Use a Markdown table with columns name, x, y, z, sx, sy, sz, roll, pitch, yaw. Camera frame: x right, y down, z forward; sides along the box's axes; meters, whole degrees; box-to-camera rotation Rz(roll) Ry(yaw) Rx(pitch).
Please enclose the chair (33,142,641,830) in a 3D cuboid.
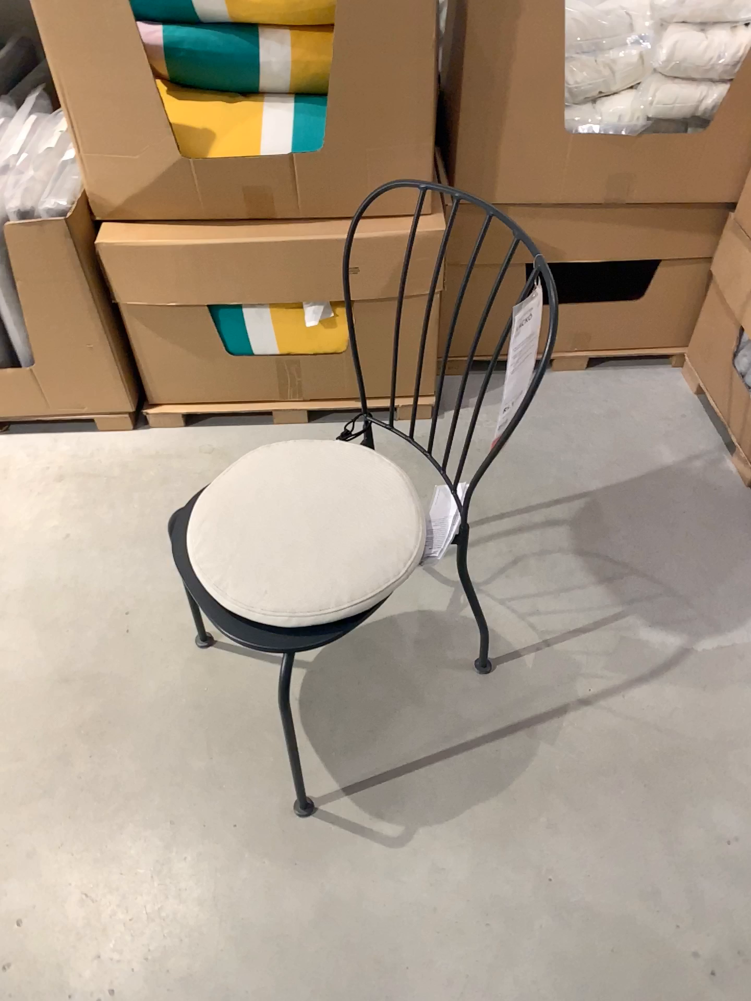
| name | x | y | z | sx | sy | sz | roll | pitch | yaw |
| --- | --- | --- | --- | --- | --- | --- | --- | --- | --- |
| chair | -0.057 | 0.013 | 1.177 | 0.520 | 0.818 | 0.481 | -26 | 53 | -20 |
